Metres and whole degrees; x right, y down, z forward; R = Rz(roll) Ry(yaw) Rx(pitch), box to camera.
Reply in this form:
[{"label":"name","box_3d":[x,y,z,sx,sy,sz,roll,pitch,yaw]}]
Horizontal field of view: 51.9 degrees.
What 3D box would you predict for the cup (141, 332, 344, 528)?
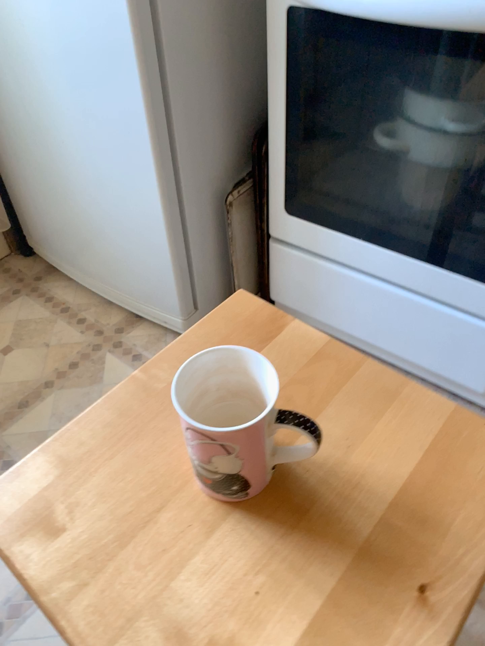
[{"label":"cup","box_3d":[0.006,0.077,0.364,0.120,0.099,0.081,7,45,11]}]
